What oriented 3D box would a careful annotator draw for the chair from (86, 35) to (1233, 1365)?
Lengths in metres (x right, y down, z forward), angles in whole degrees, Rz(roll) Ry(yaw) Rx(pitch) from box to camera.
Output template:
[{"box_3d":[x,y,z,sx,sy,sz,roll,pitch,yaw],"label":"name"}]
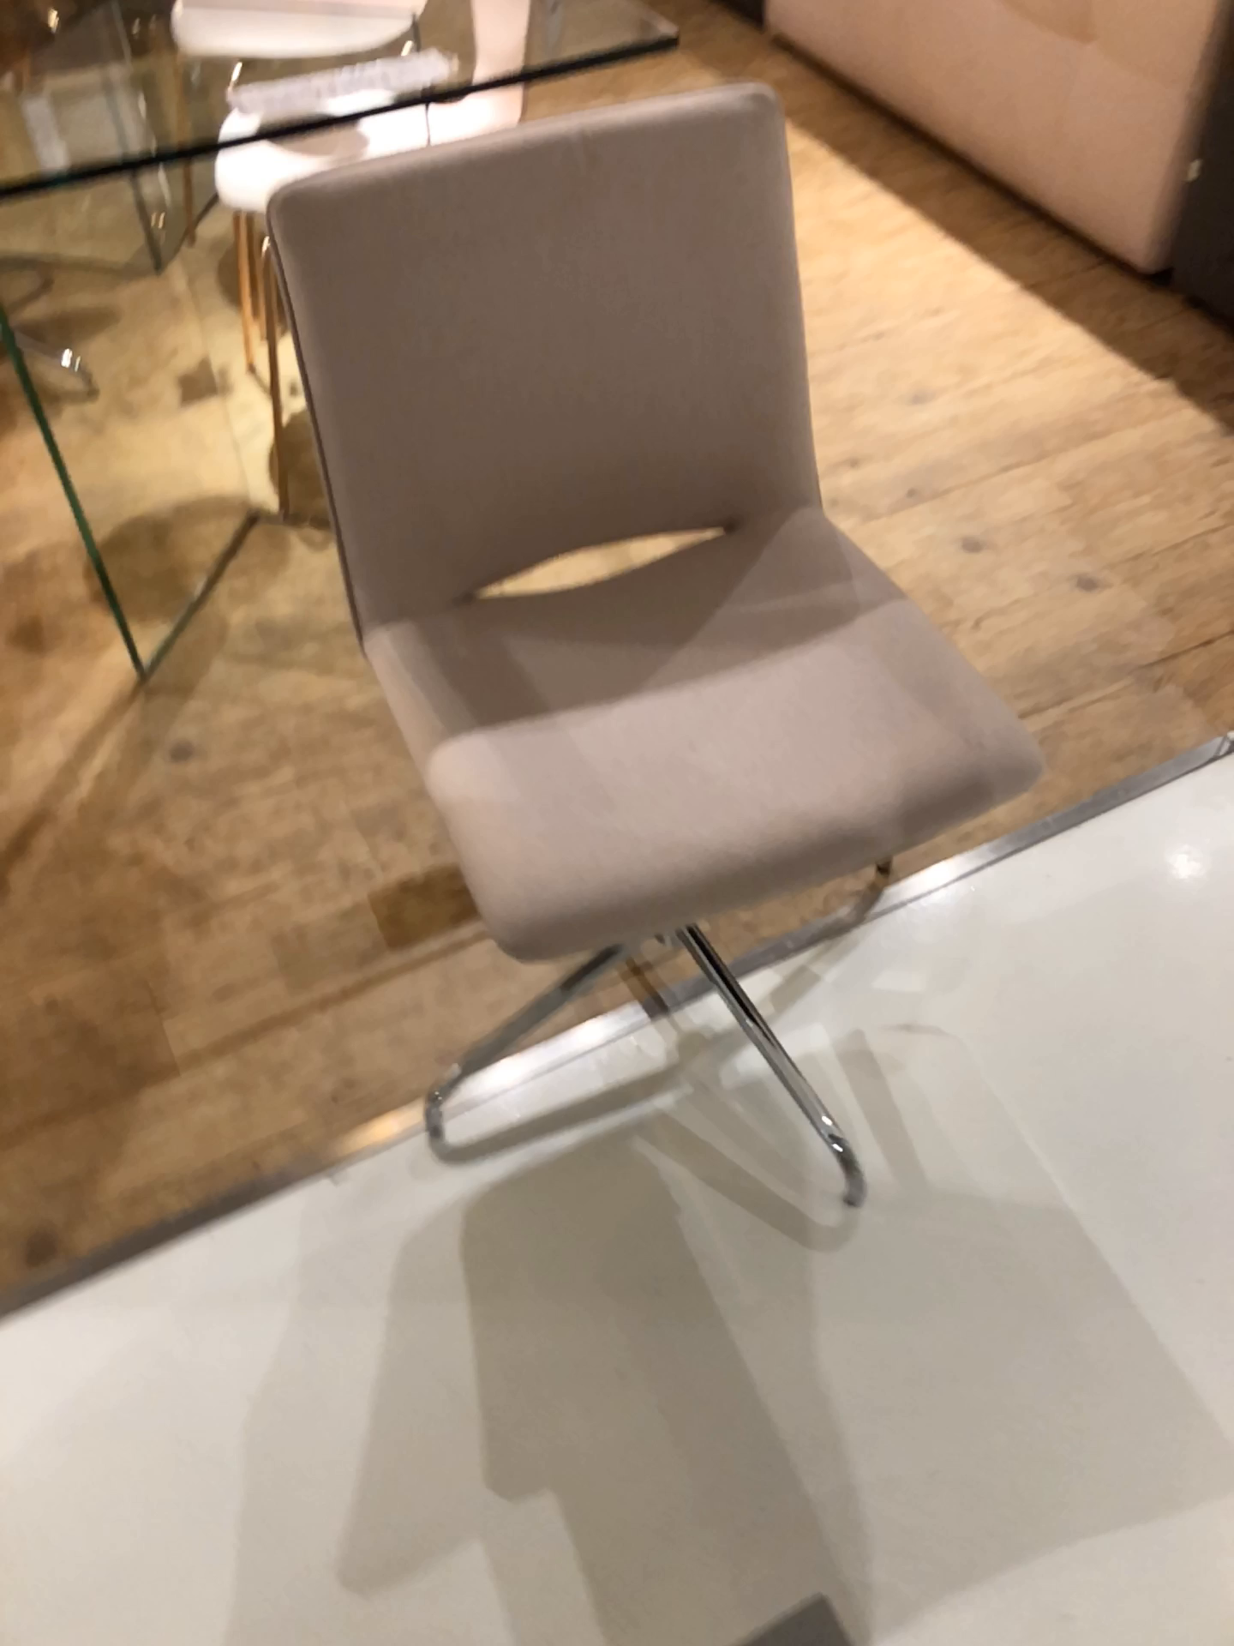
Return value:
[{"box_3d":[0.050,-0.107,1.161,0.651,0.745,0.634,-20,50,-15],"label":"chair"}]
